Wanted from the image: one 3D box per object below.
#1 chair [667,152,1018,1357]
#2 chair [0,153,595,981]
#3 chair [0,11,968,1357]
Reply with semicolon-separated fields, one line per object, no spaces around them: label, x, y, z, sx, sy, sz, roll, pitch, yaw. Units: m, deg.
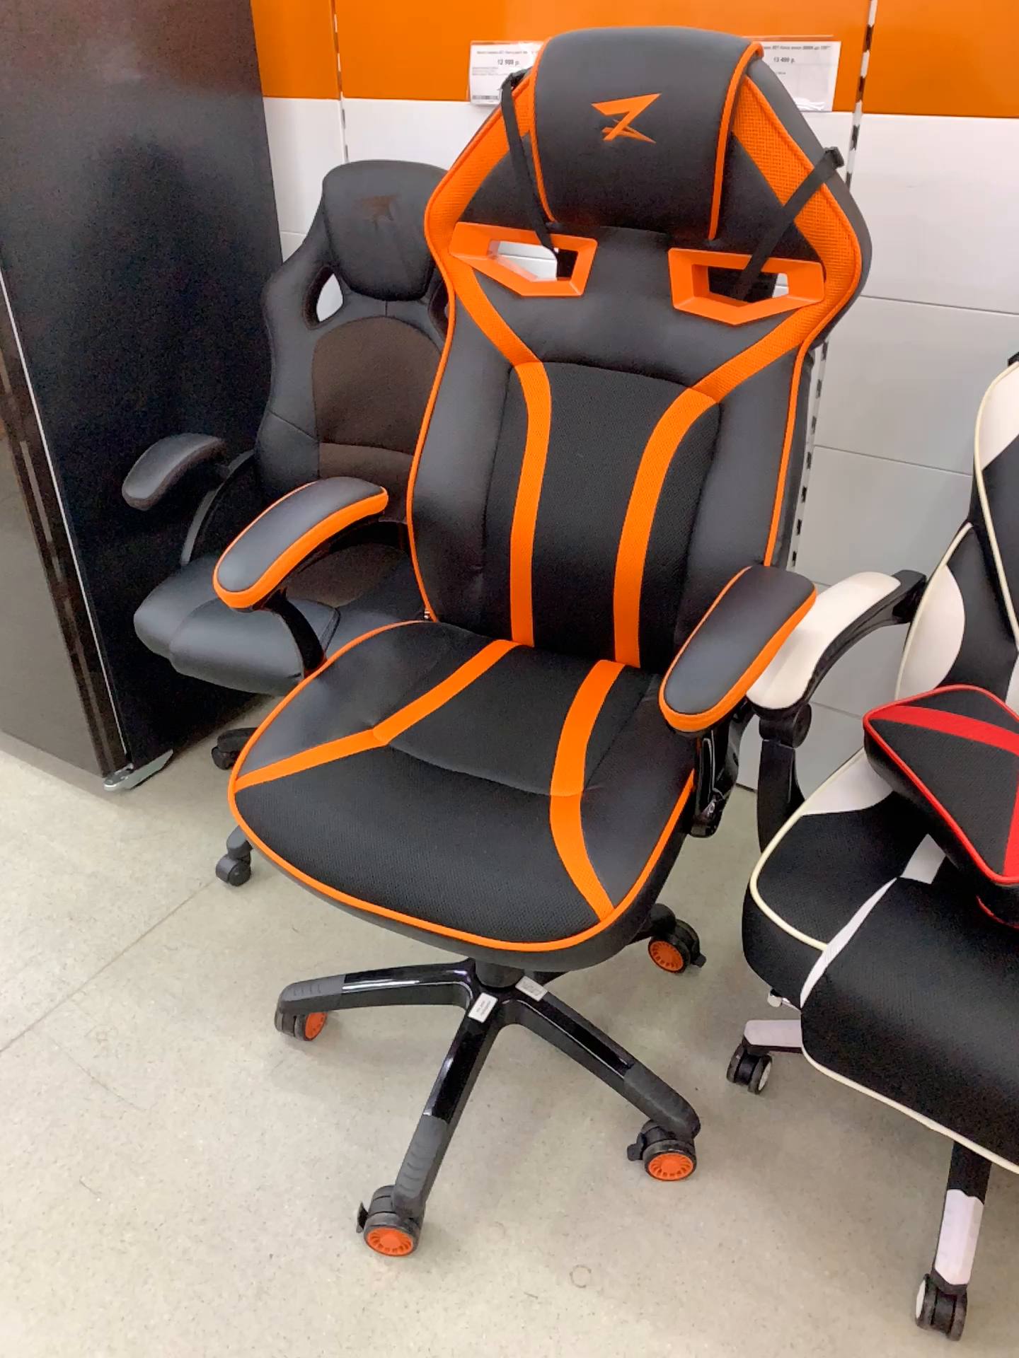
chair;0.762;0.112;1.201;0.851;1.193;0.824;14;35;24
chair;-0.365;-0.256;2.061;0.821;1.323;0.724;14;35;24
chair;-0.045;-0.018;1.260;0.721;1.313;0.733;18;37;28
